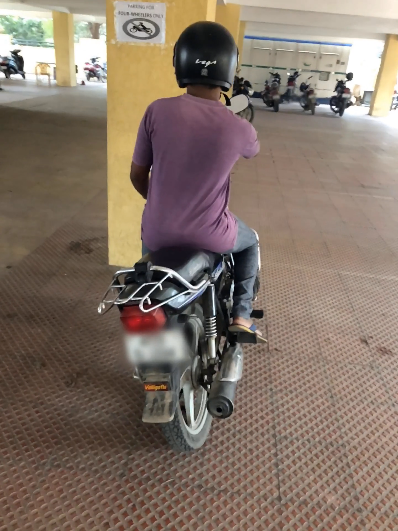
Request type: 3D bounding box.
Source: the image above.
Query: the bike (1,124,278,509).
[{"bbox_3d":[-0.155,0.030,2.140,0.765,1.194,1.551,7,24,3],"label":"bike"}]
